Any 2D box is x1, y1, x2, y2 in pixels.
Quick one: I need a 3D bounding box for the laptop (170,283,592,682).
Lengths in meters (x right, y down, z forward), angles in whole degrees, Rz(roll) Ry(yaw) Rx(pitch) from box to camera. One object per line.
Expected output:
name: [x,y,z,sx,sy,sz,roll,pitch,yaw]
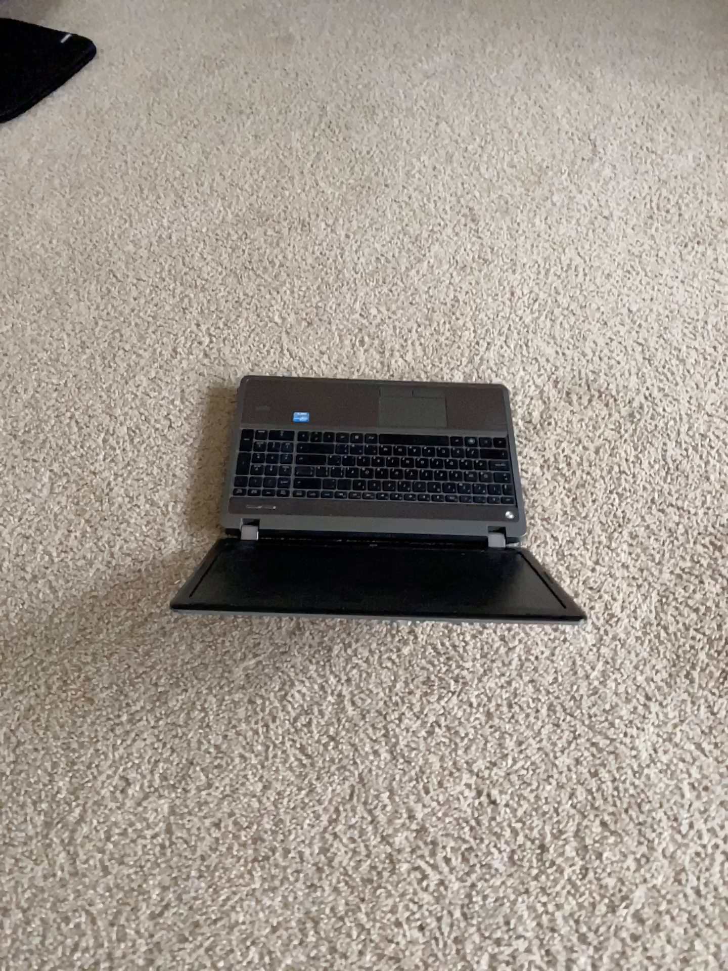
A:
laptop: [0.017,-0.020,0.847,0.374,0.162,0.437,2,54,-1]
